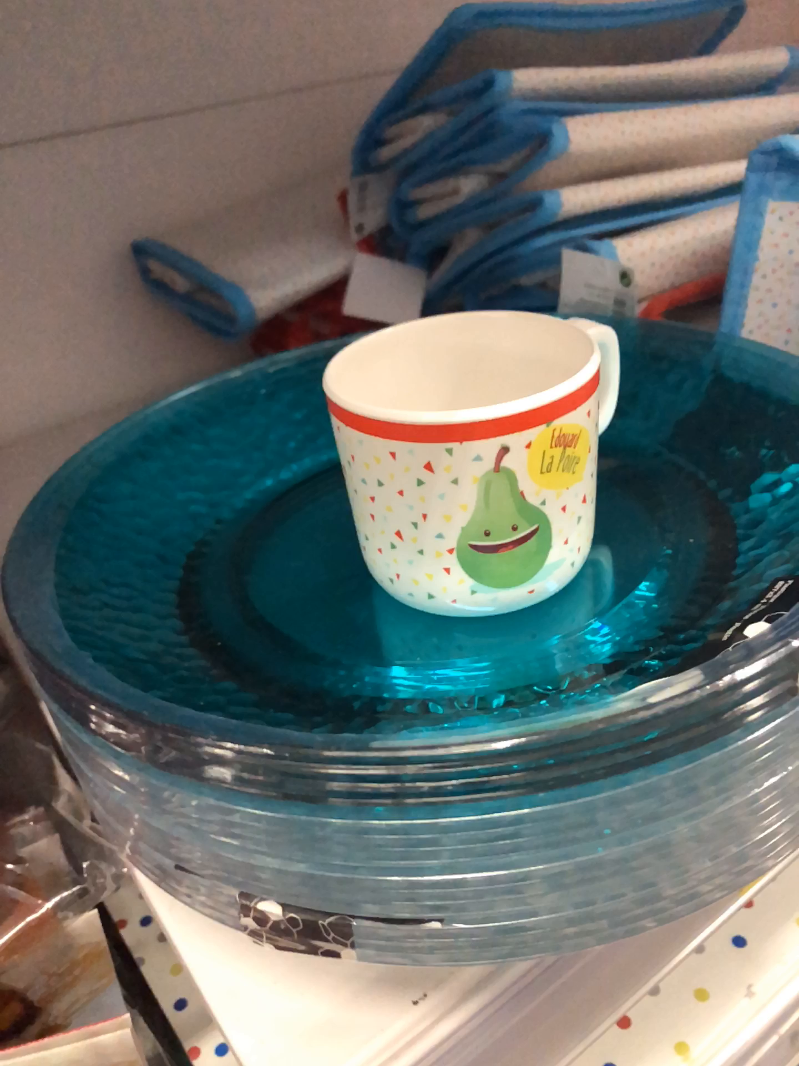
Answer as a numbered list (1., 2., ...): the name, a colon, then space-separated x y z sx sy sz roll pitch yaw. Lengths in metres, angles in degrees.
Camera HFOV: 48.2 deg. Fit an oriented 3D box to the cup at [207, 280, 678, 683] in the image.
1. cup: 0.015 -0.023 0.255 0.103 0.059 0.076 -30 39 -32
